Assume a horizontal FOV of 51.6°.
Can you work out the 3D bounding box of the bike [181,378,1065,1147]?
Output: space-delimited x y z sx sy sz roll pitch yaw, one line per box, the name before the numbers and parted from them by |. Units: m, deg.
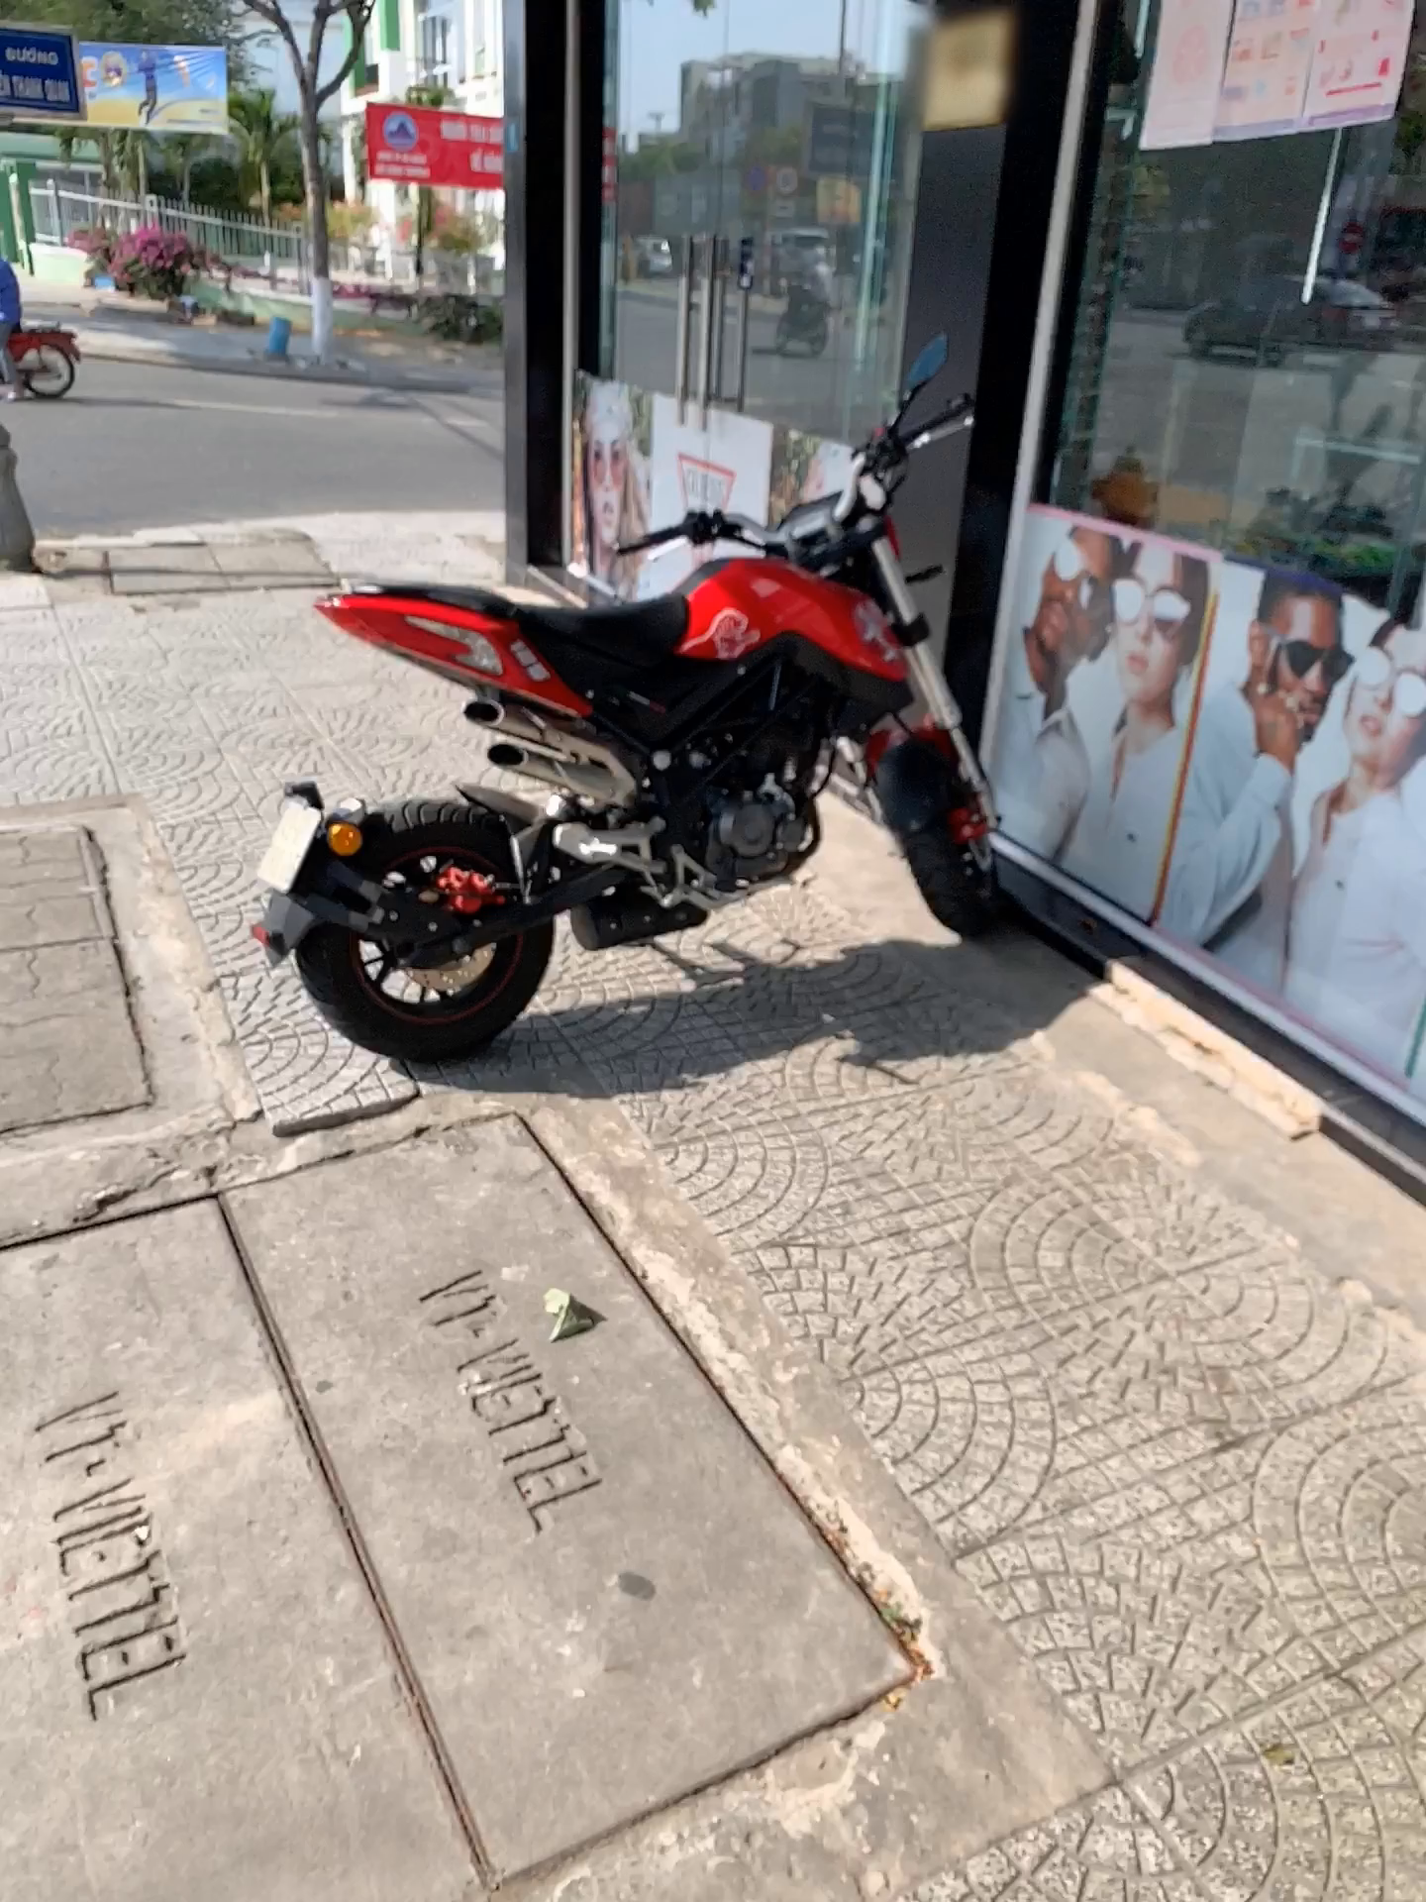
bike | -0.095 -0.648 3.452 0.833 1.216 2.125 24 32 39
